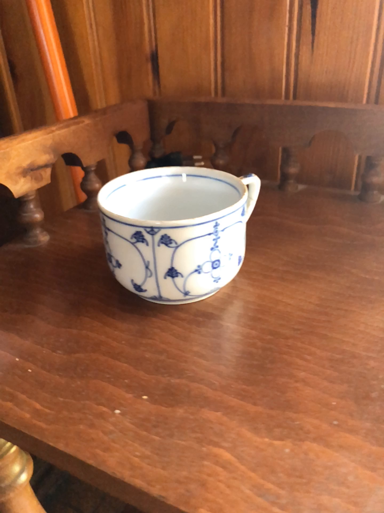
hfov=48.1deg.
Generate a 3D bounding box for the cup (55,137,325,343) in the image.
[{"bbox_3d":[0.000,-0.020,0.243,0.120,0.060,0.080,-21,34,-29],"label":"cup"}]
